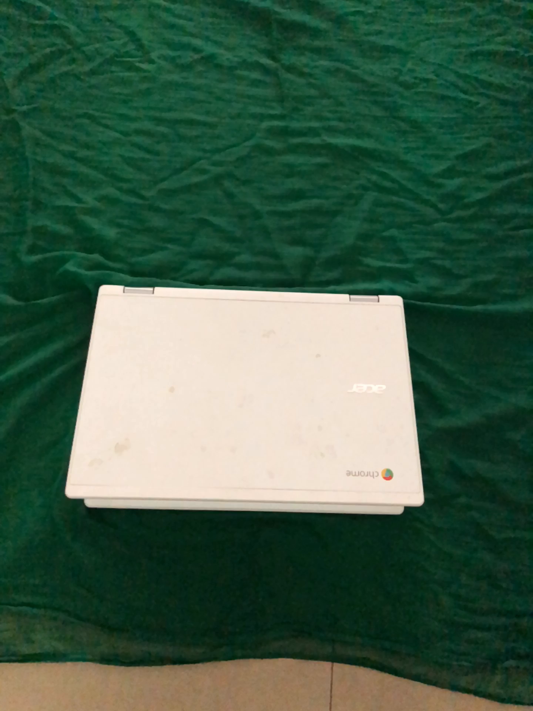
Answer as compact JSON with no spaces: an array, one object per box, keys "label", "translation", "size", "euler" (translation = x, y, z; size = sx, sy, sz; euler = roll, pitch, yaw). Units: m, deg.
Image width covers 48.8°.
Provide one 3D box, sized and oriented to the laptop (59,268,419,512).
[{"label":"laptop","translation":[-0.017,0.031,0.508],"size":[0.281,0.065,0.193],"euler":[2,79,-1]}]
